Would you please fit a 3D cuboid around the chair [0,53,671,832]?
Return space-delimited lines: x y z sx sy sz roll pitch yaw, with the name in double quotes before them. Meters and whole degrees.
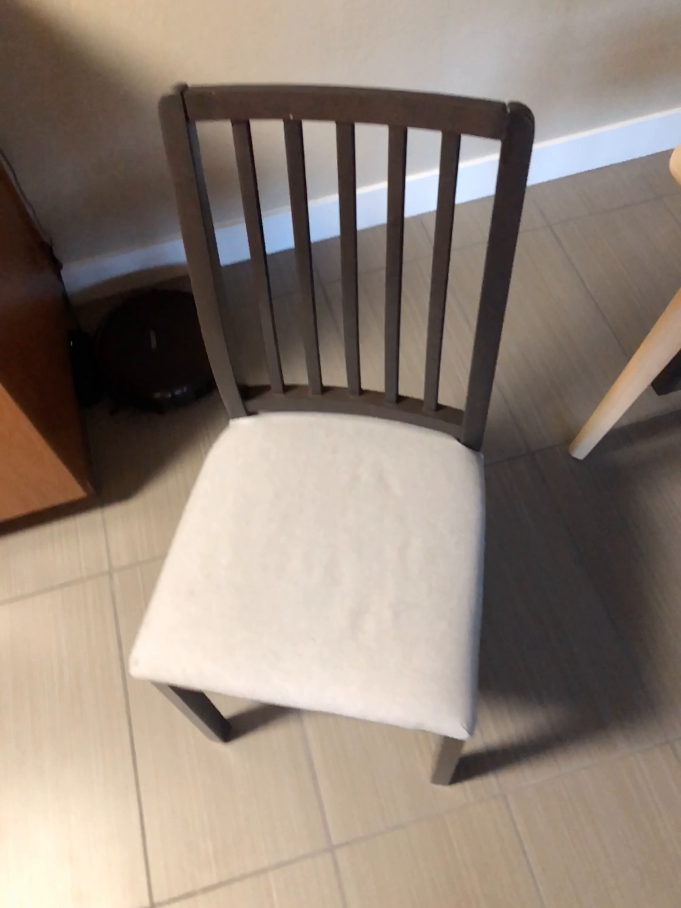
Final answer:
"chair" -0.013 0.070 0.983 0.580 0.848 0.591 7 59 9
